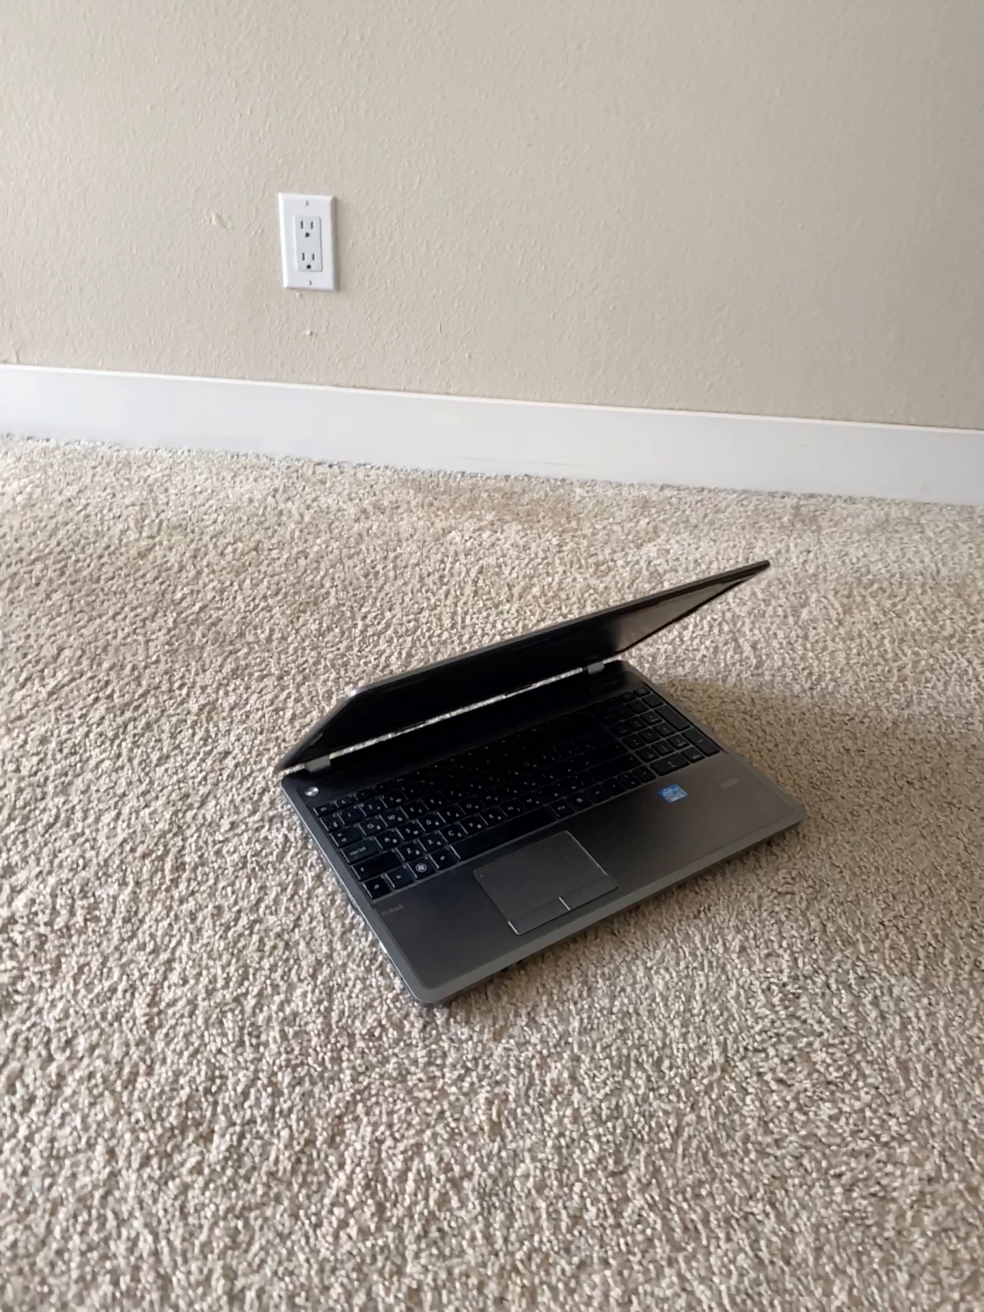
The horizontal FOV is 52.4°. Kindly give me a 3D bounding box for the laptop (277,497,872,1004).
[{"bbox_3d":[0.056,0.043,0.795,0.369,0.186,0.254,-17,40,-29],"label":"laptop"}]
